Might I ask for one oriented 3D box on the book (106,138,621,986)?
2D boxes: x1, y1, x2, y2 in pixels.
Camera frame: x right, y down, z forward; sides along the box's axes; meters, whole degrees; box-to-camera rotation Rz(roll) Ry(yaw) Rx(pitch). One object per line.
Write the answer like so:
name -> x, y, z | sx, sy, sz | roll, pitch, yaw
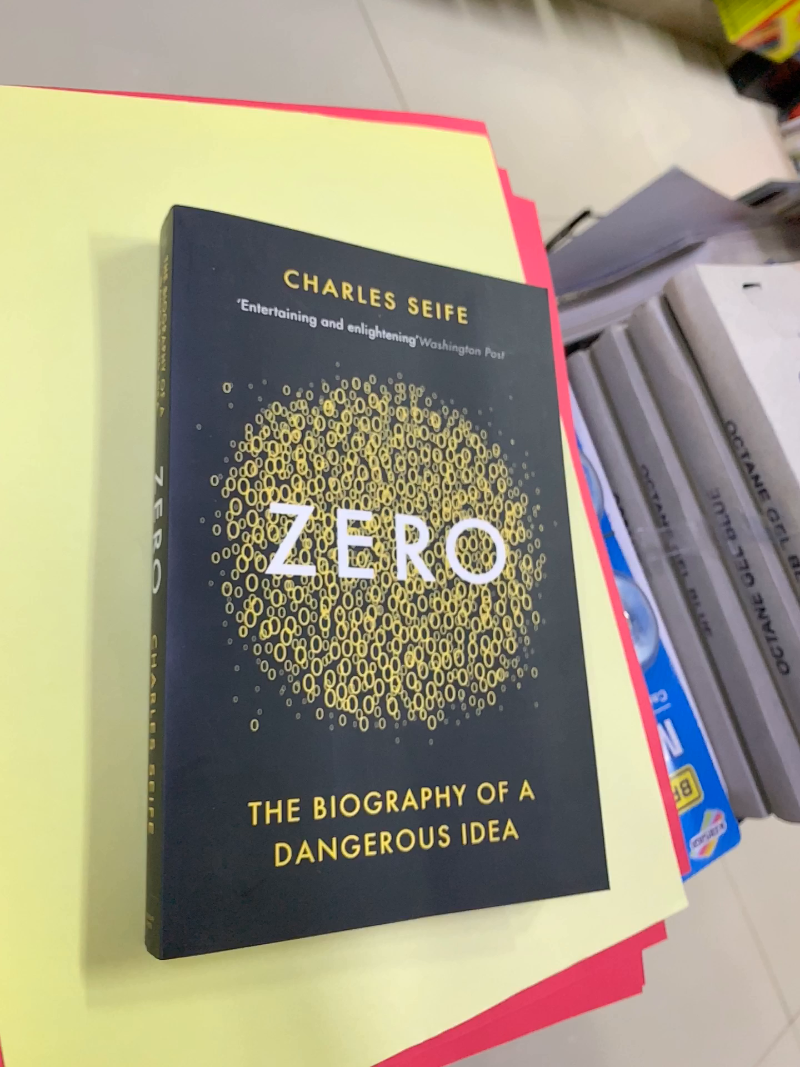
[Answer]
book -> -0.009, 0.004, 0.242 | 0.130, 0.040, 0.200 | 4, 76, -27
